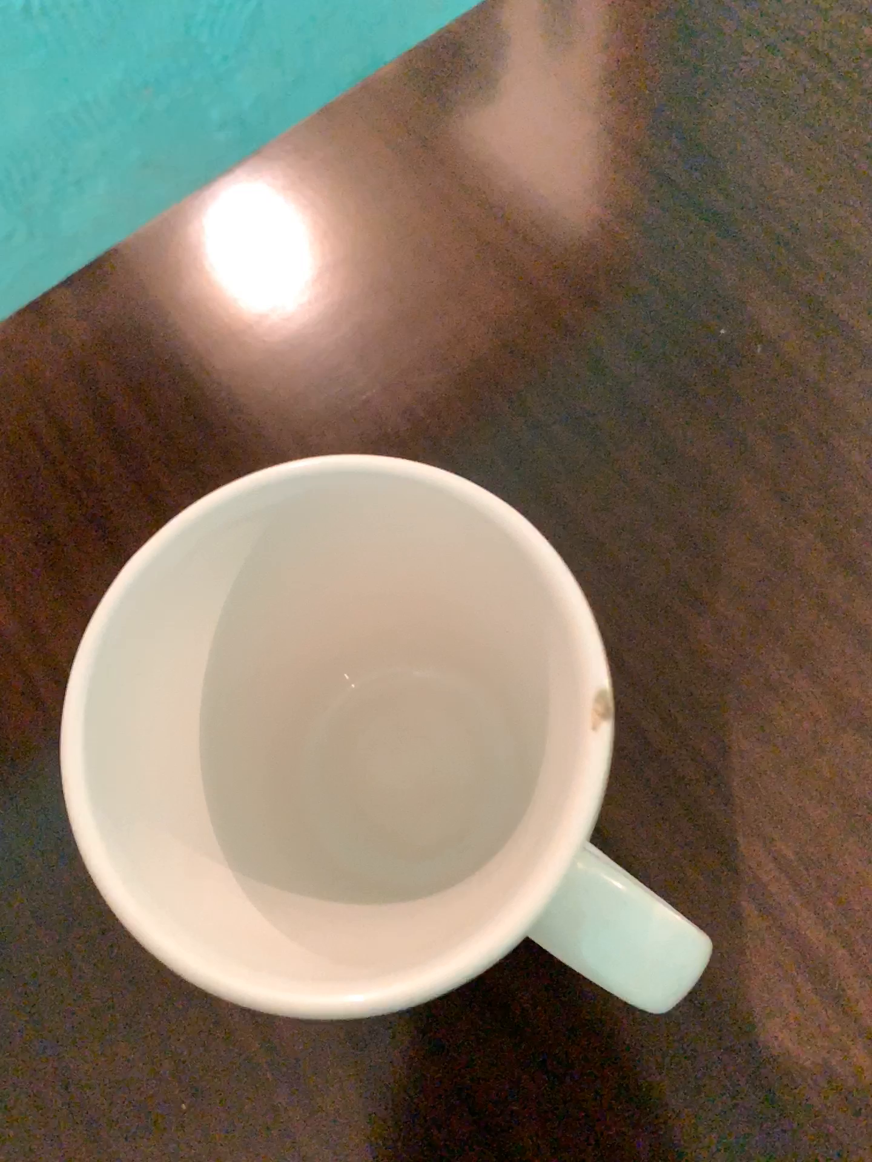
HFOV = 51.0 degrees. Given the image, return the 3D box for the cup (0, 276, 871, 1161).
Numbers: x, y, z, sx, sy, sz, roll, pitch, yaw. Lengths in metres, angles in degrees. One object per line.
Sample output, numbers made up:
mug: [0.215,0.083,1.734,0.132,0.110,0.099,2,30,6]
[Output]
cup: [0.001,0.029,0.158,0.110,0.080,0.090,34,80,16]
